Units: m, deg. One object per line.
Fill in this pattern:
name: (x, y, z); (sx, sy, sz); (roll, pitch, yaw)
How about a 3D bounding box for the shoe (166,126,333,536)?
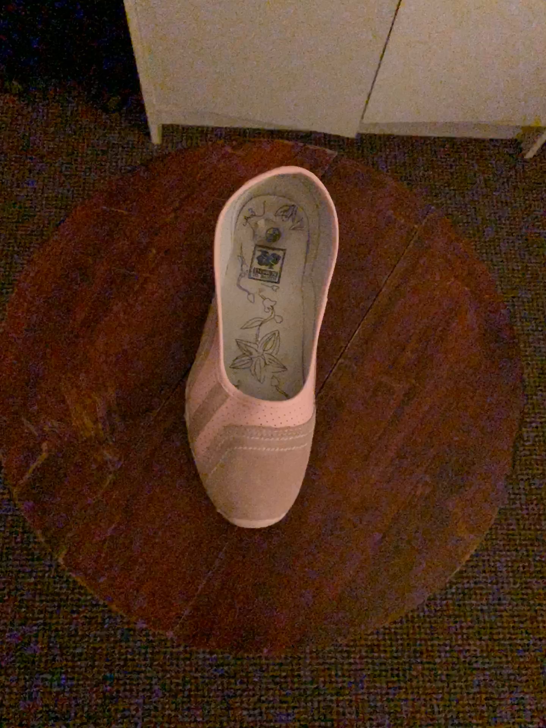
shoe: (-0.011, -0.025, 0.386); (0.090, 0.070, 0.271); (4, 72, -3)
